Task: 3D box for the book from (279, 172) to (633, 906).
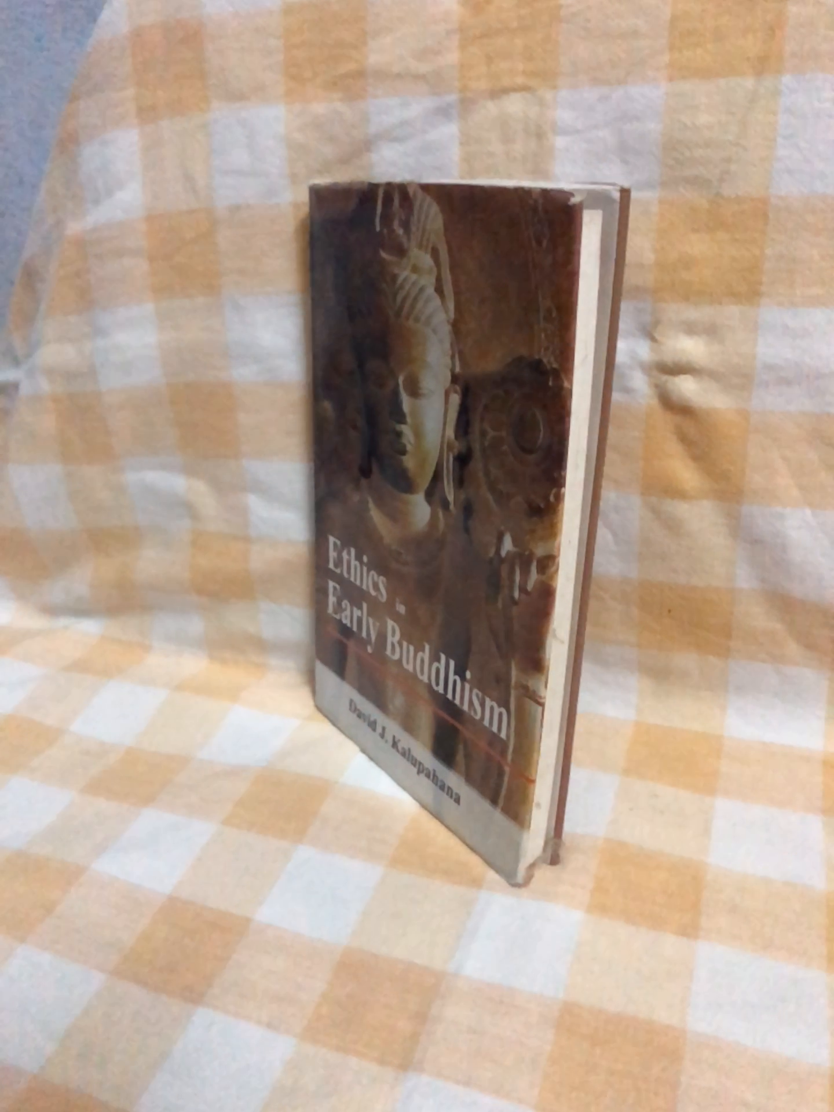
[{"bbox_3d":[0.000,-0.015,0.338,0.020,0.229,0.160,-14,27,-32],"label":"book"}]
